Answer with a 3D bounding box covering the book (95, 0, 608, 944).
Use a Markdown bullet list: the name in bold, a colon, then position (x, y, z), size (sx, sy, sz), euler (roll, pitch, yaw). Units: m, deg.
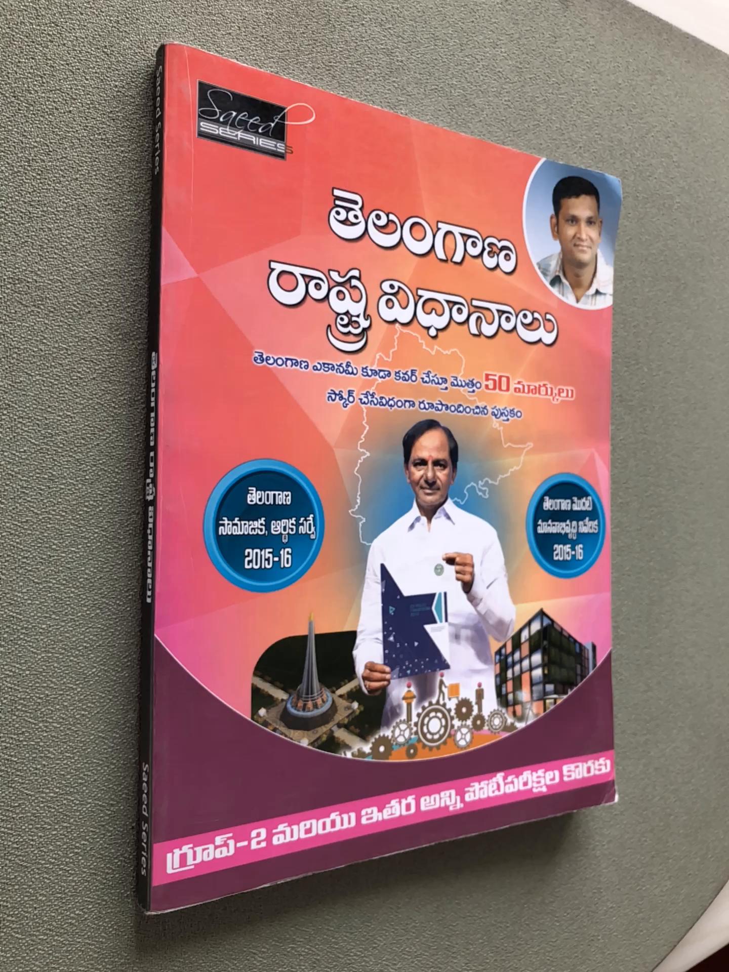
- **book**: position (0.008, -0.003, 0.276), size (0.181, 0.030, 0.250), euler (2, 88, -33)
